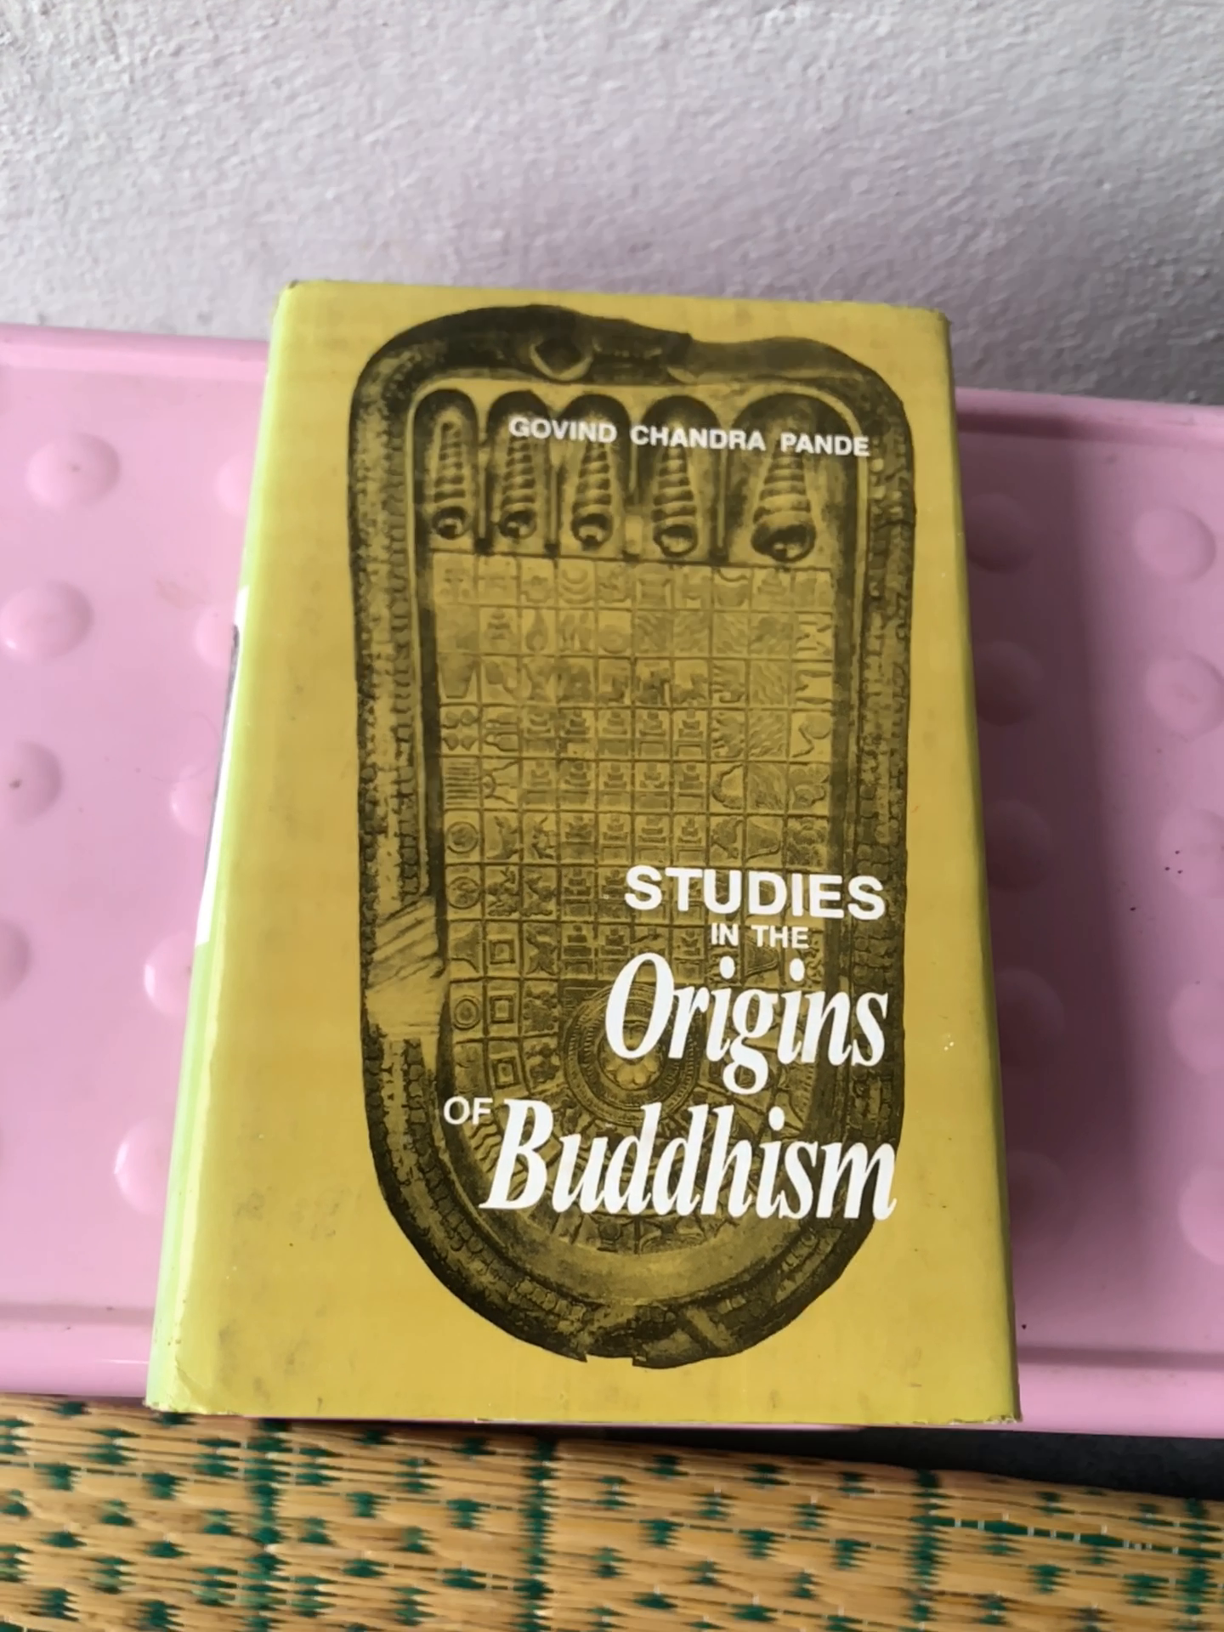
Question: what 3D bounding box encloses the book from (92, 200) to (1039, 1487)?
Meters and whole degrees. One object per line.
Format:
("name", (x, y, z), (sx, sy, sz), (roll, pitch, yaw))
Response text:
("book", (-0.004, -0.004, 0.272), (0.150, 0.040, 0.240), (3, 73, -3))
